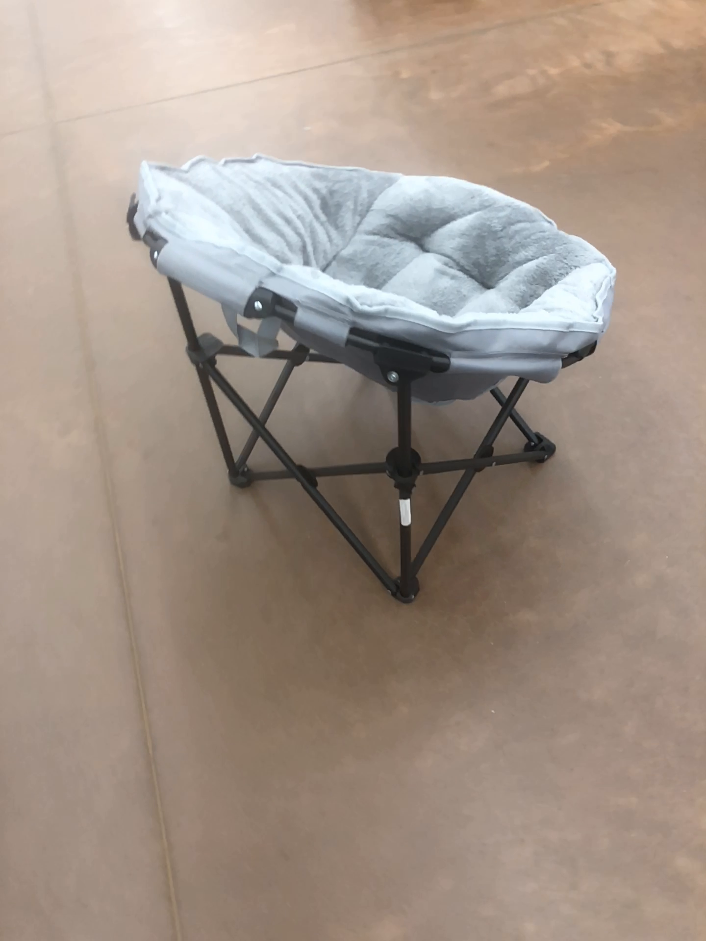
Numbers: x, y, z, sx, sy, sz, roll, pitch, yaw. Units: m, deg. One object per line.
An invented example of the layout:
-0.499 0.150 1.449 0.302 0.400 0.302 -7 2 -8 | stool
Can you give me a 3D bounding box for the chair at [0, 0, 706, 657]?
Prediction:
0.046 -0.250 1.078 0.571 0.529 0.631 31 61 24 | chair
